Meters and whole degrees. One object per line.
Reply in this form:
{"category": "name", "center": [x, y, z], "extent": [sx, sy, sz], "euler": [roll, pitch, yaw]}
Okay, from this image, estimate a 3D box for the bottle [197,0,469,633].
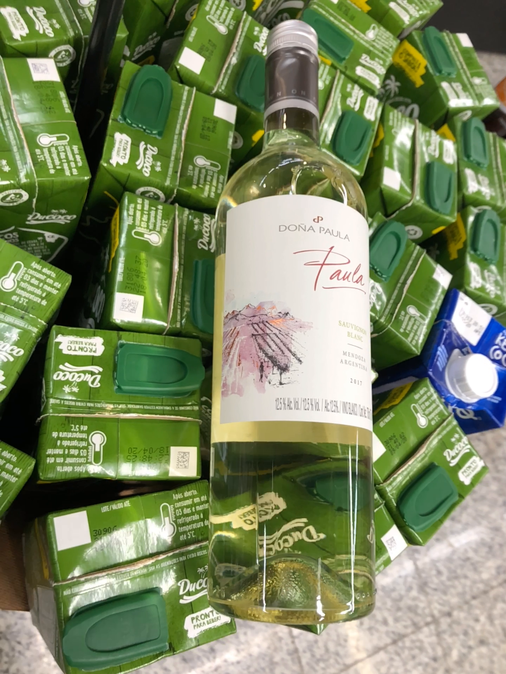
{"category": "bottle", "center": [0.027, -0.049, 0.274], "extent": [0.080, 0.070, 0.331], "euler": [9, 69, -23]}
